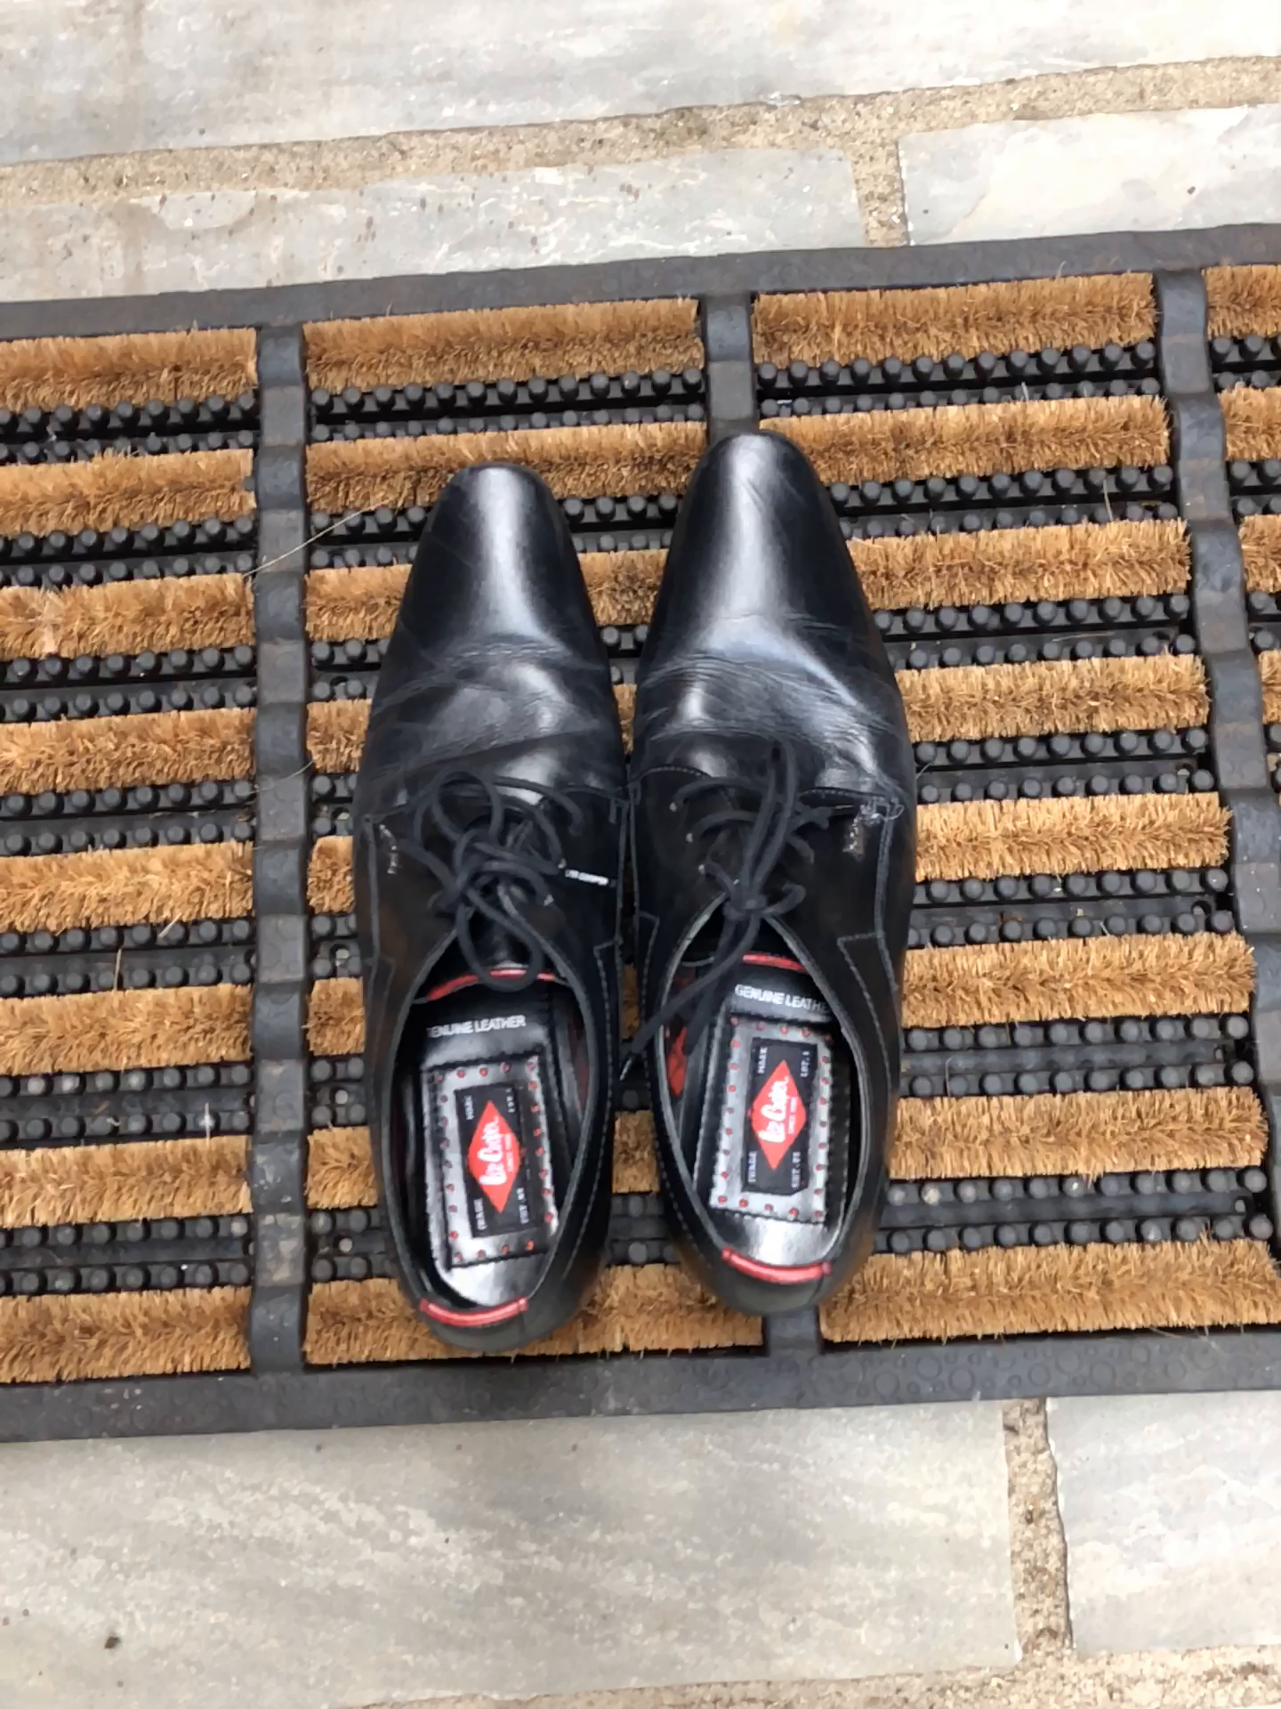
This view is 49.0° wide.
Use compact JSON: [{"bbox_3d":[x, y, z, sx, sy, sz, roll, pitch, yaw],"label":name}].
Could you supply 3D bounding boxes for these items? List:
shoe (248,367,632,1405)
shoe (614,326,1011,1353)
[{"bbox_3d":[-0.058,0.008,0.454,0.100,0.100,0.300,-2,79,1],"label":"shoe"},{"bbox_3d":[0.047,-0.005,0.456,0.100,0.100,0.300,-2,79,1],"label":"shoe"}]
